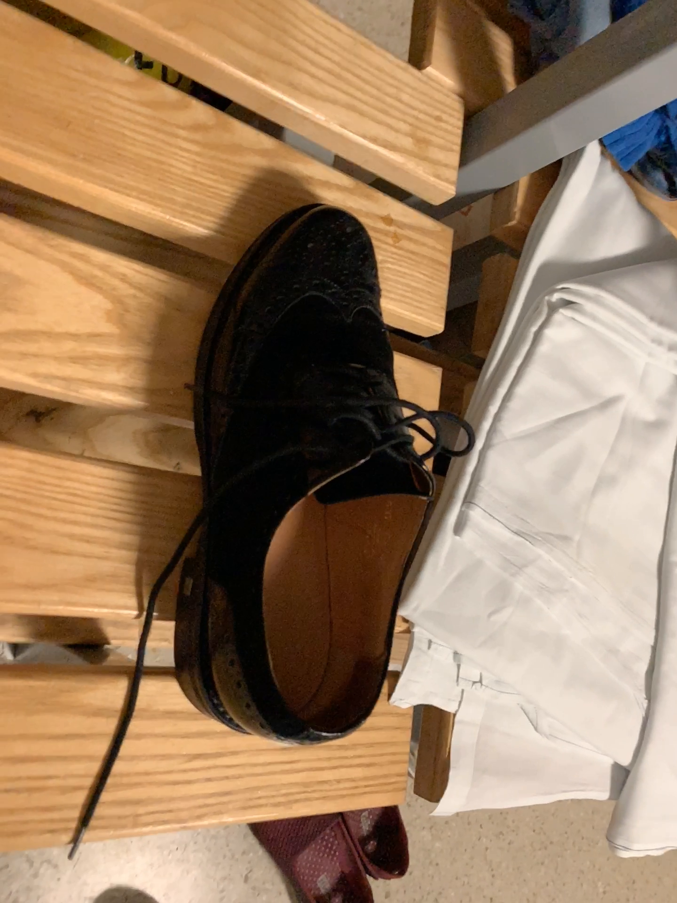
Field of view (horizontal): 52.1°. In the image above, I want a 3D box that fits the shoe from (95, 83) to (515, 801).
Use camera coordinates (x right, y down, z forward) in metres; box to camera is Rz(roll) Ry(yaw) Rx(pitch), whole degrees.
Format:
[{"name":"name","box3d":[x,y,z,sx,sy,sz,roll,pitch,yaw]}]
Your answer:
[{"name":"shoe","box3d":[-0.010,0.000,0.296,0.100,0.095,0.251,18,75,-32]}]
